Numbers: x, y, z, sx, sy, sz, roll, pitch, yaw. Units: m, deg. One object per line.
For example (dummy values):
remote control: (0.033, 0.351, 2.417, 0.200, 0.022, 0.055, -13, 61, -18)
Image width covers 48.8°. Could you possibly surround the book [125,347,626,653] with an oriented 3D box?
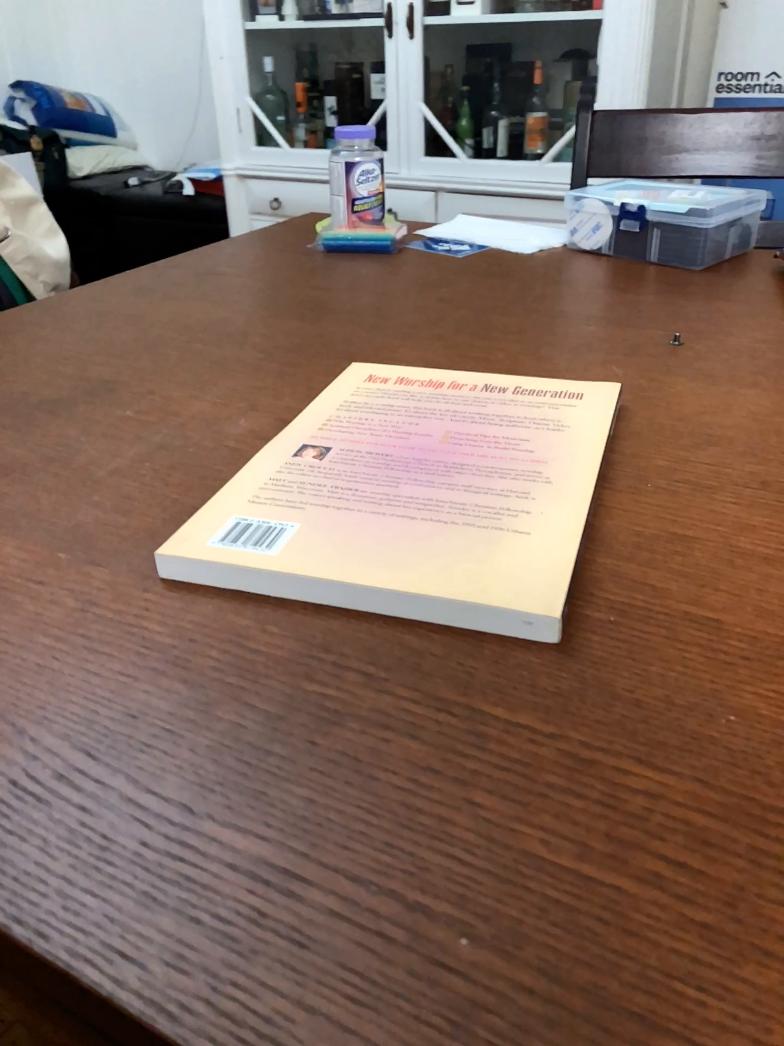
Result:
book: (0.016, -0.036, 0.464, 0.190, 0.020, 0.271, 7, 31, 16)
